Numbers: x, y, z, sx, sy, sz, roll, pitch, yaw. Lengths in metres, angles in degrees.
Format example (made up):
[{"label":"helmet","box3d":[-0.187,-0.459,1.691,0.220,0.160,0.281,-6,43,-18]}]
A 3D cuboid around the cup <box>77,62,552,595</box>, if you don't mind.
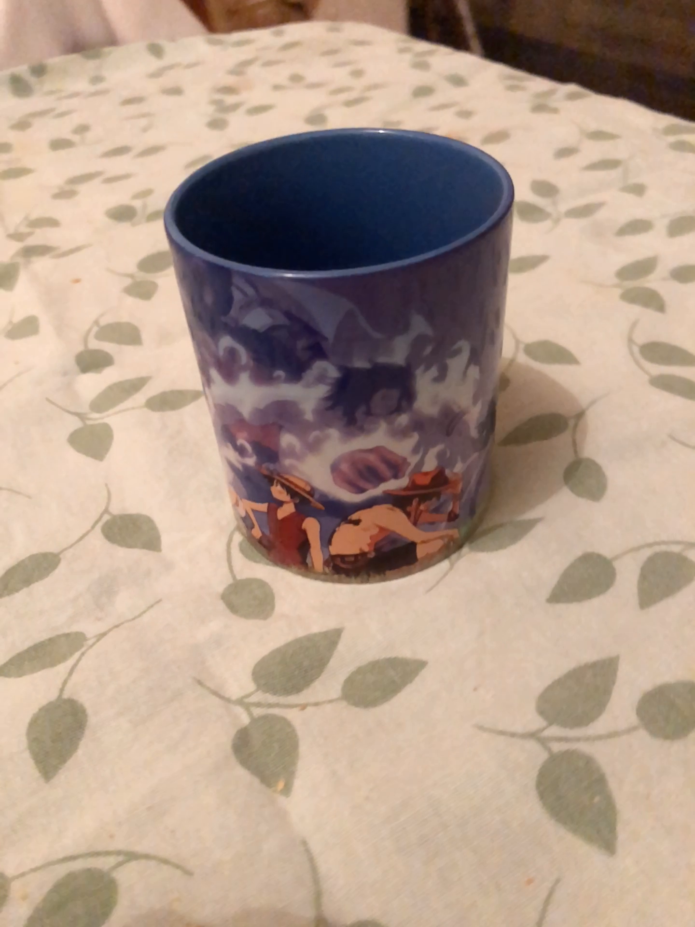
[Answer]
[{"label":"cup","box3d":[0.000,-0.042,0.224,0.090,0.099,0.121,0,42,6]}]
